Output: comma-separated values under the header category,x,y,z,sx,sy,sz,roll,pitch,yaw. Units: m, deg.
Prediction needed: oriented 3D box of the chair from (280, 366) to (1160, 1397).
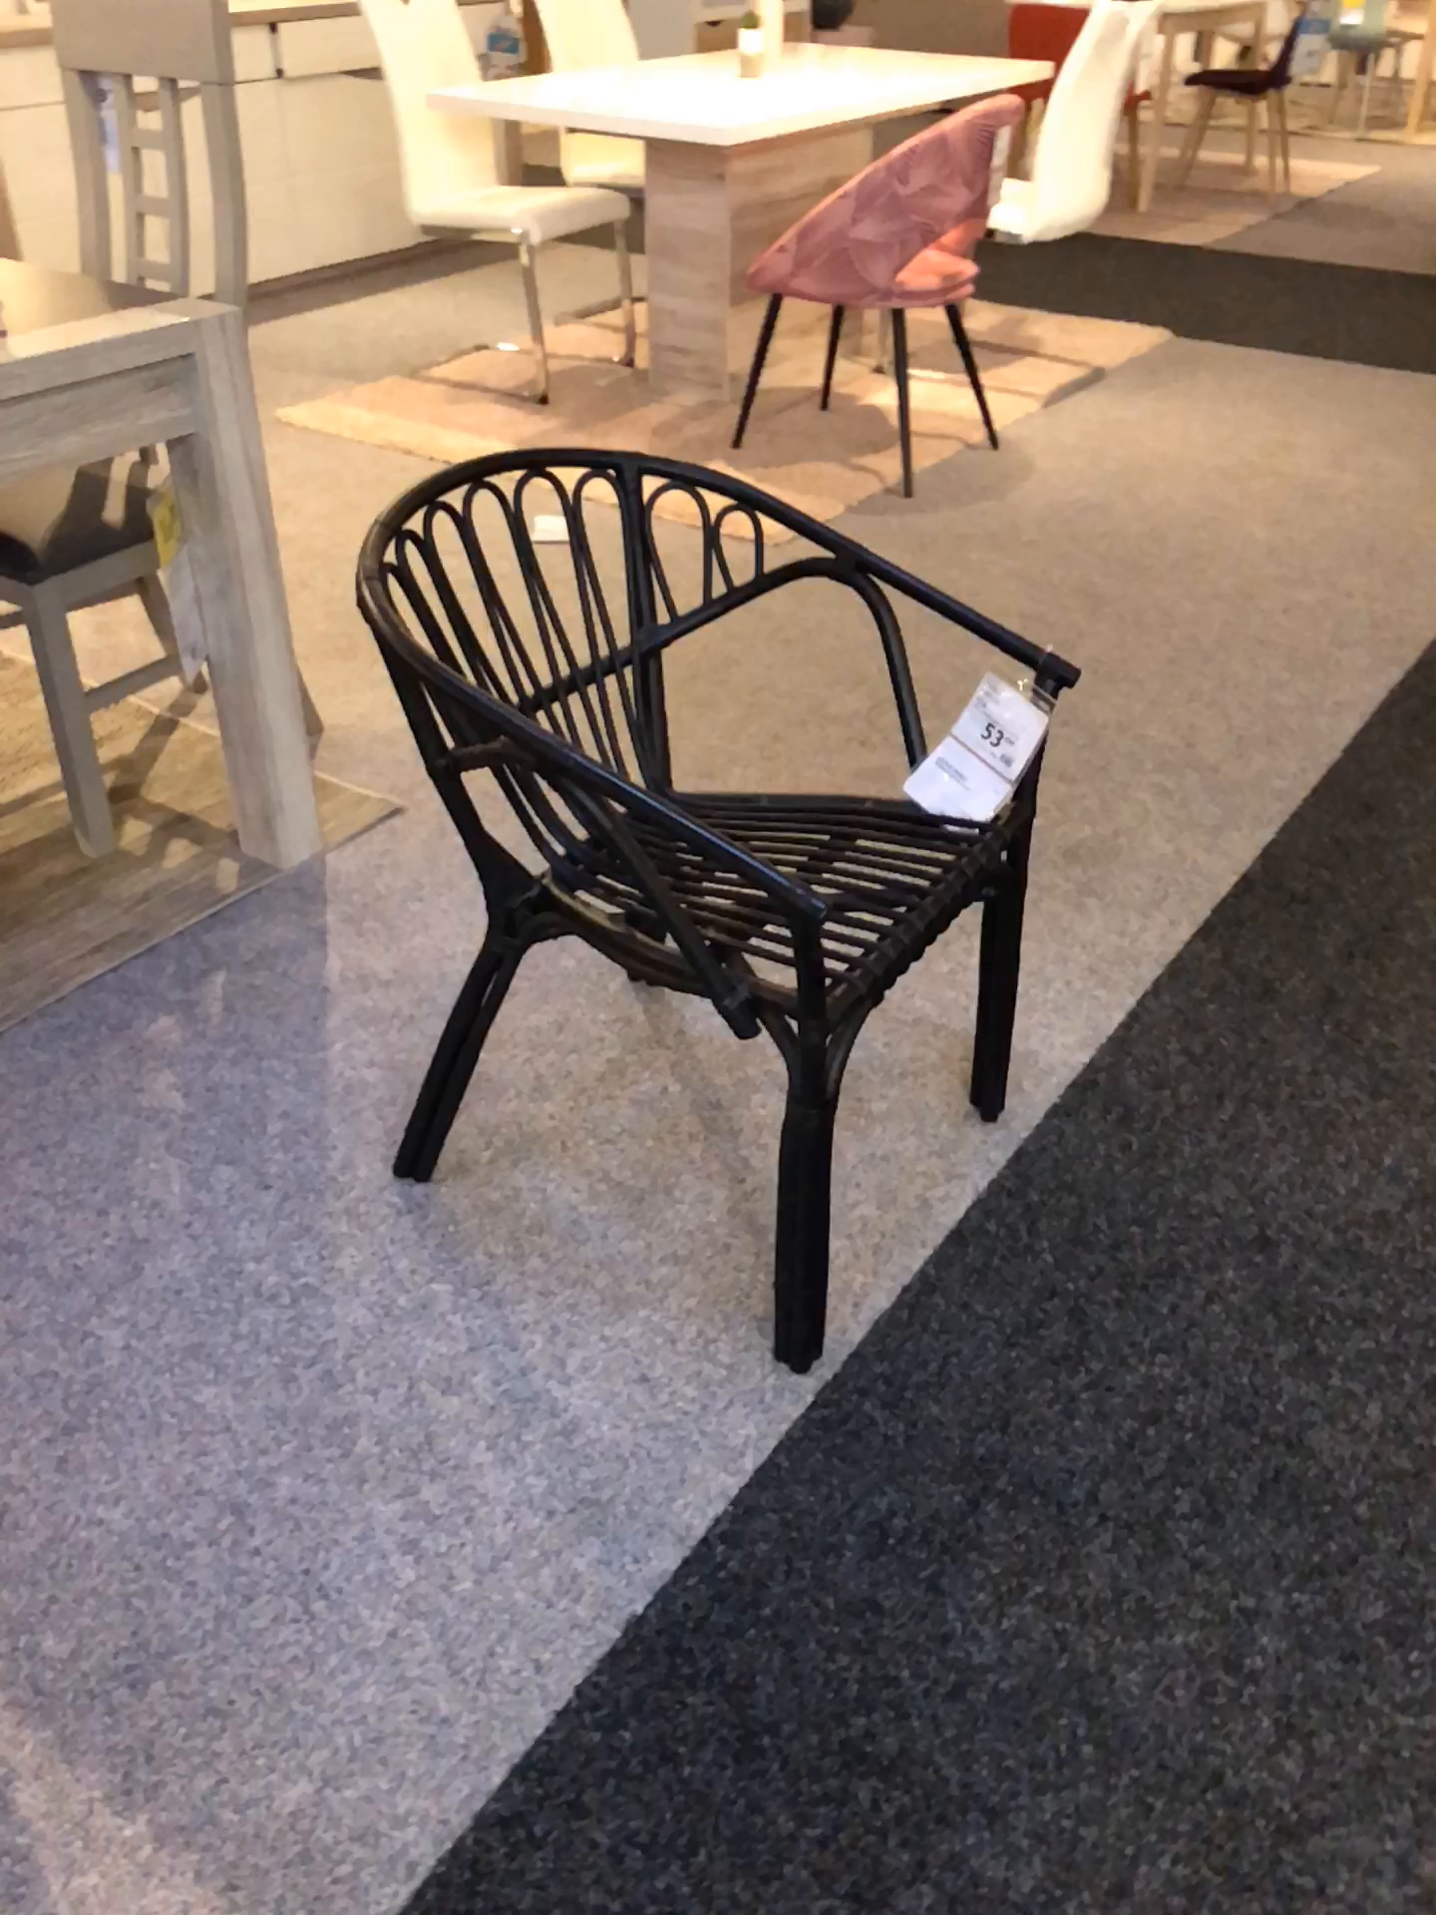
category,x,y,z,sx,sy,sz,roll,pitch,yaw
chair,0.015,-0.112,1.563,0.560,0.736,0.533,21,39,28
